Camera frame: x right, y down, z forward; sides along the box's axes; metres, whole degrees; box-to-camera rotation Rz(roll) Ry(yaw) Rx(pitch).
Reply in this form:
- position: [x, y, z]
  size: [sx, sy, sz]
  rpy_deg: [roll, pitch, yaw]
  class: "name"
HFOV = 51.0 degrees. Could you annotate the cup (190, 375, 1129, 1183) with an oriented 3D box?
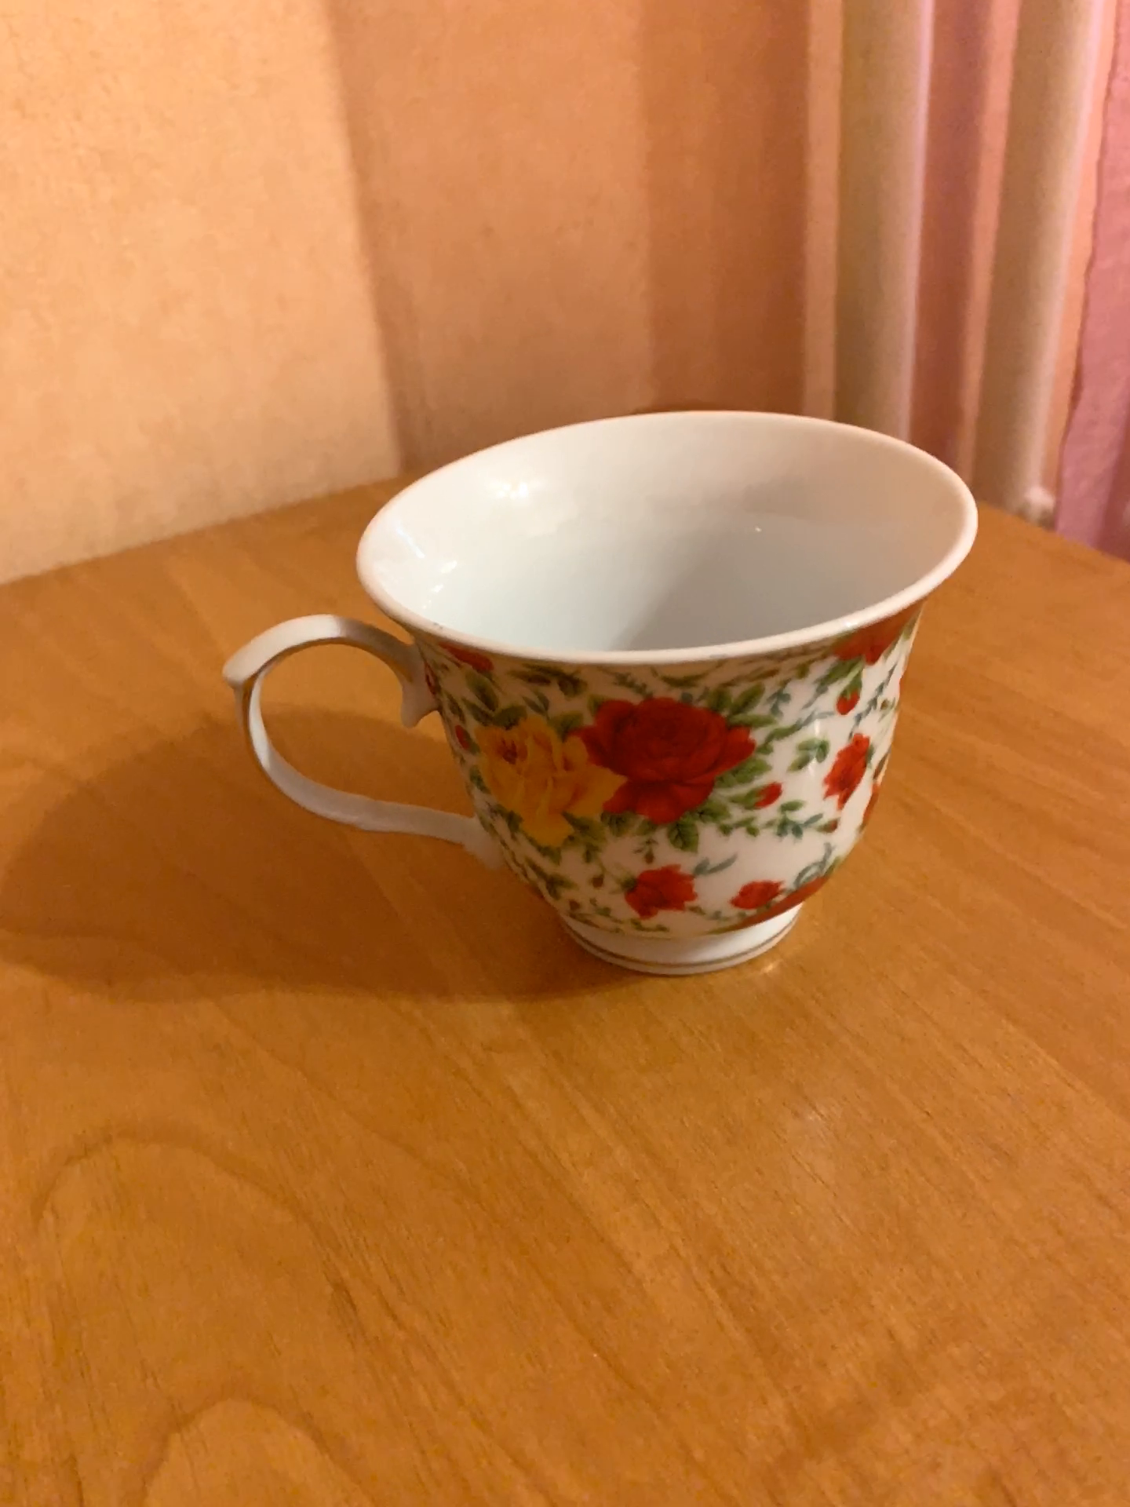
- position: [0.009, -0.008, 0.201]
  size: [0.120, 0.067, 0.100]
  rpy_deg: [-15, 34, -13]
  class: "cup"
